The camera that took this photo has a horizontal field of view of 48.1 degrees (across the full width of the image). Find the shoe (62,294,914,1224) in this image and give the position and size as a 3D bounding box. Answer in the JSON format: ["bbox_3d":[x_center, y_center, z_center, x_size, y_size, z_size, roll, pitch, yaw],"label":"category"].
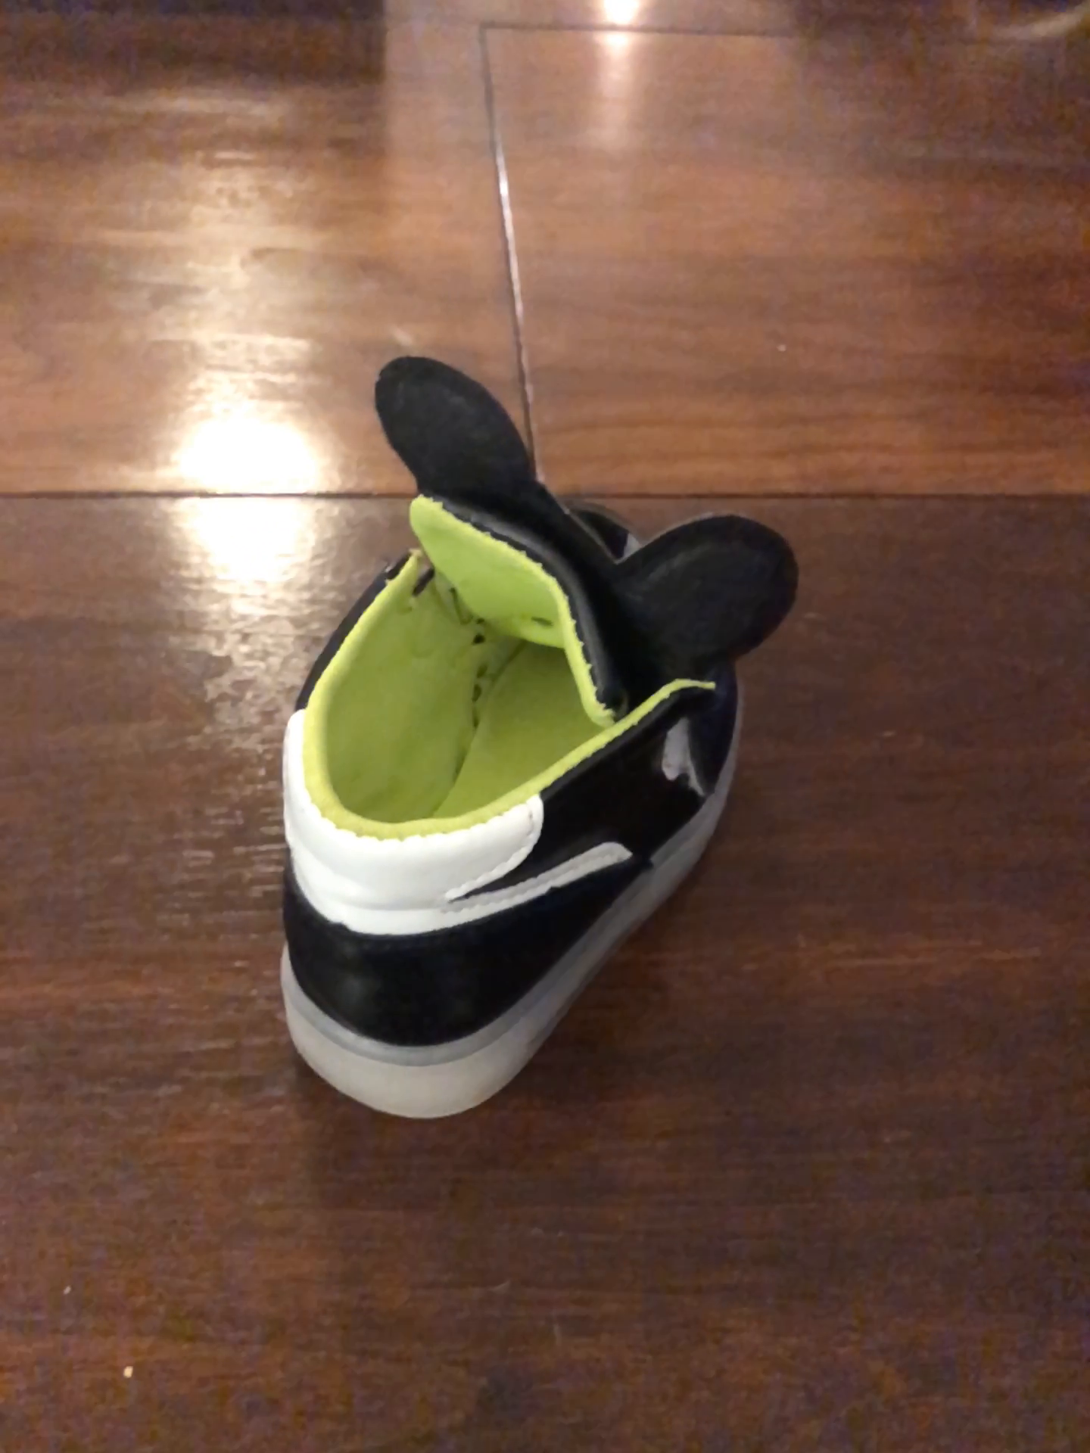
[{"bbox_3d":[-0.002,-0.003,0.258,0.090,0.100,0.150,24,49,18],"label":"shoe"}]
